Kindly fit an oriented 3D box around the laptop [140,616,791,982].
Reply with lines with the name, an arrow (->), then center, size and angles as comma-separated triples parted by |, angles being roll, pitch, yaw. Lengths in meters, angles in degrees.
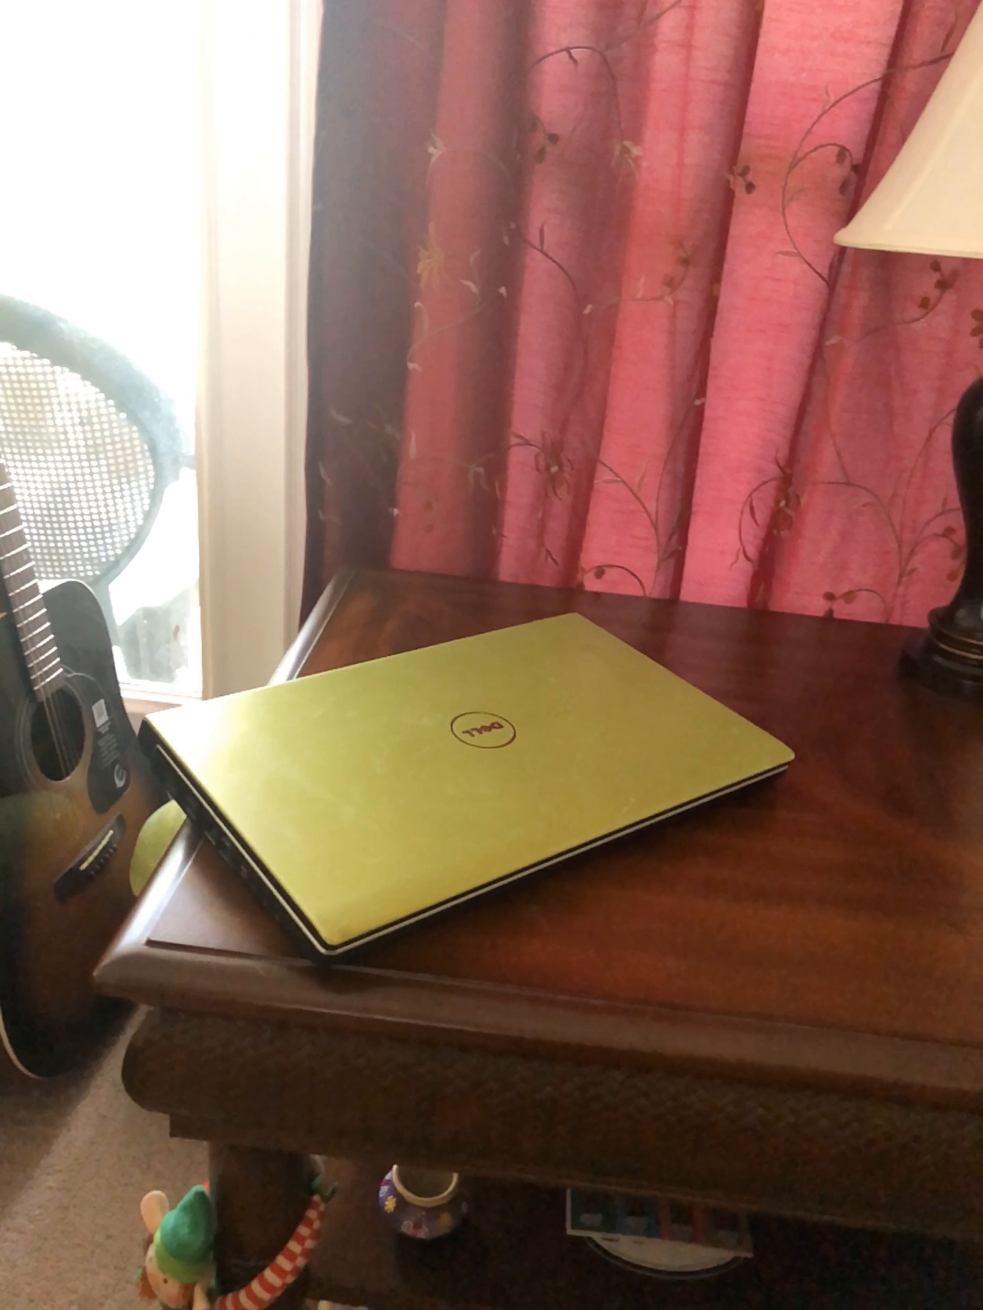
laptop -> -0.010, 0.068, 0.737 | 0.378, 0.020, 0.237 | -14, 36, -35
